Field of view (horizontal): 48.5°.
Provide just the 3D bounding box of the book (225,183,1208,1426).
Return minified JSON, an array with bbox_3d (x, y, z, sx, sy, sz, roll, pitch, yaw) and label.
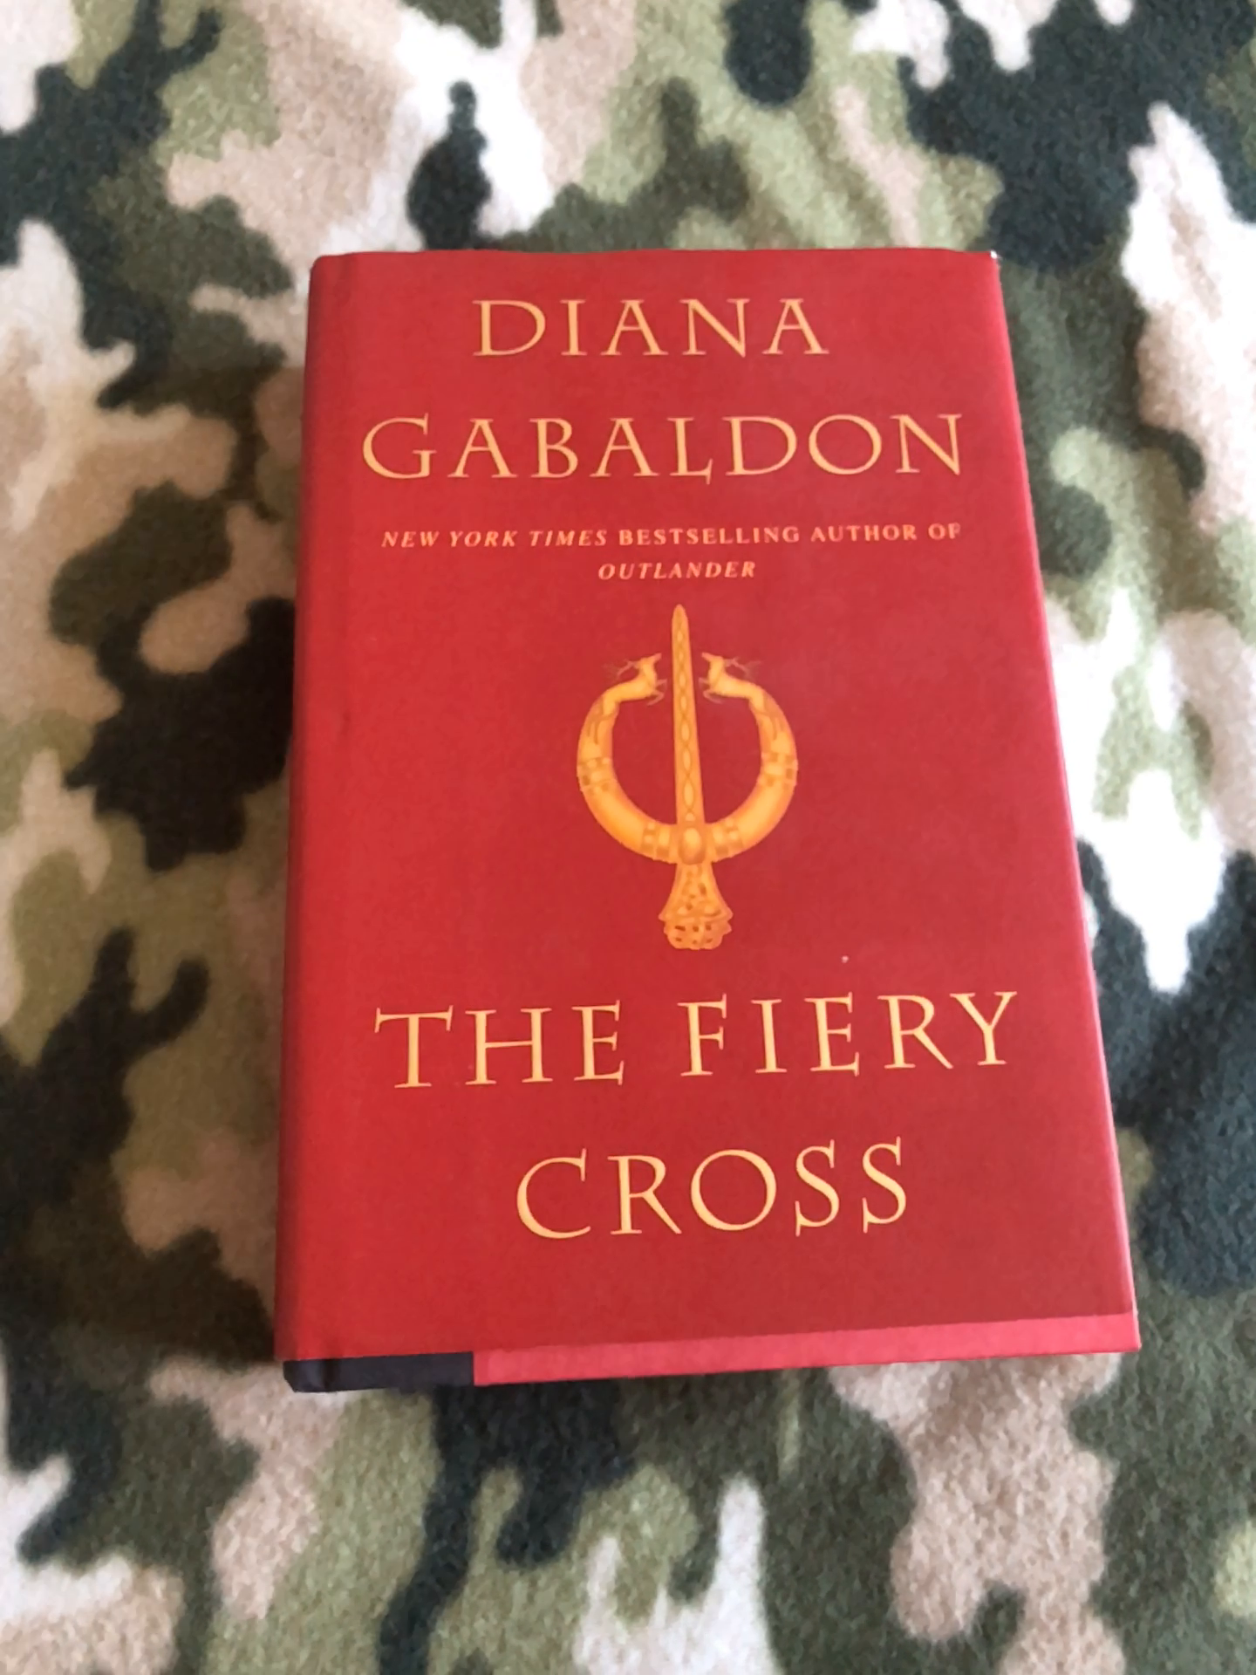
[{"bbox_3d":[0.010,-0.014,0.308,0.170,0.070,0.250,-1,73,-5],"label":"book"}]
